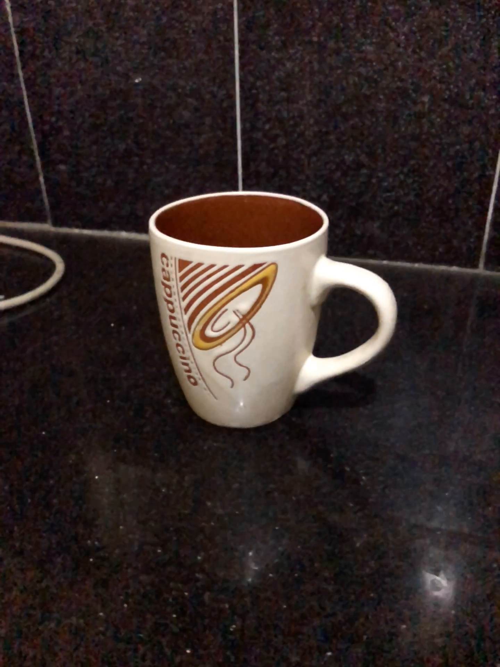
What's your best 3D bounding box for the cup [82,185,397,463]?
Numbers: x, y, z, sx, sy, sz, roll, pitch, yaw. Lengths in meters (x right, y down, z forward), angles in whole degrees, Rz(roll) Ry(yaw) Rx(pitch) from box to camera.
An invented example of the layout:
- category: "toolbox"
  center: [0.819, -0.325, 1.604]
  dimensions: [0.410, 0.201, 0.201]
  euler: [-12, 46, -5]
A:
- category: "cup"
  center: [0.002, -0.012, 0.273]
  dimensions: [0.120, 0.089, 0.091]
  euler: [7, 31, 15]
